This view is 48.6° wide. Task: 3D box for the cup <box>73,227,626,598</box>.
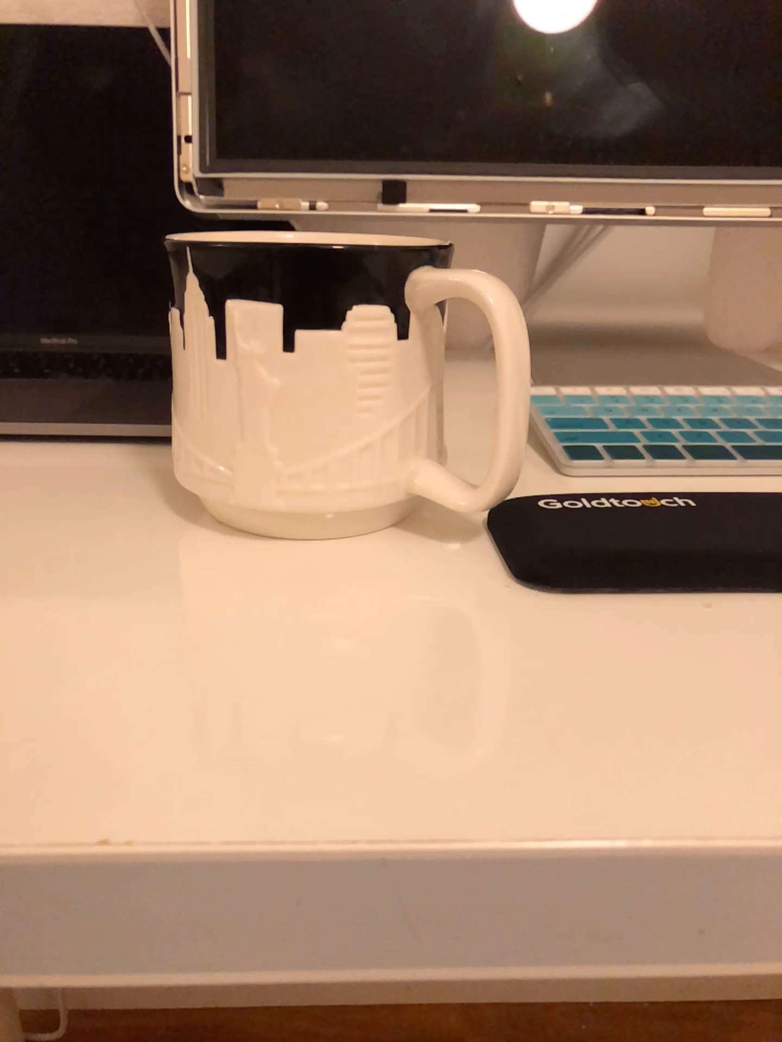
[{"bbox_3d":[-0.015,-0.053,0.307,0.150,0.090,0.110,16,25,33],"label":"cup"}]
